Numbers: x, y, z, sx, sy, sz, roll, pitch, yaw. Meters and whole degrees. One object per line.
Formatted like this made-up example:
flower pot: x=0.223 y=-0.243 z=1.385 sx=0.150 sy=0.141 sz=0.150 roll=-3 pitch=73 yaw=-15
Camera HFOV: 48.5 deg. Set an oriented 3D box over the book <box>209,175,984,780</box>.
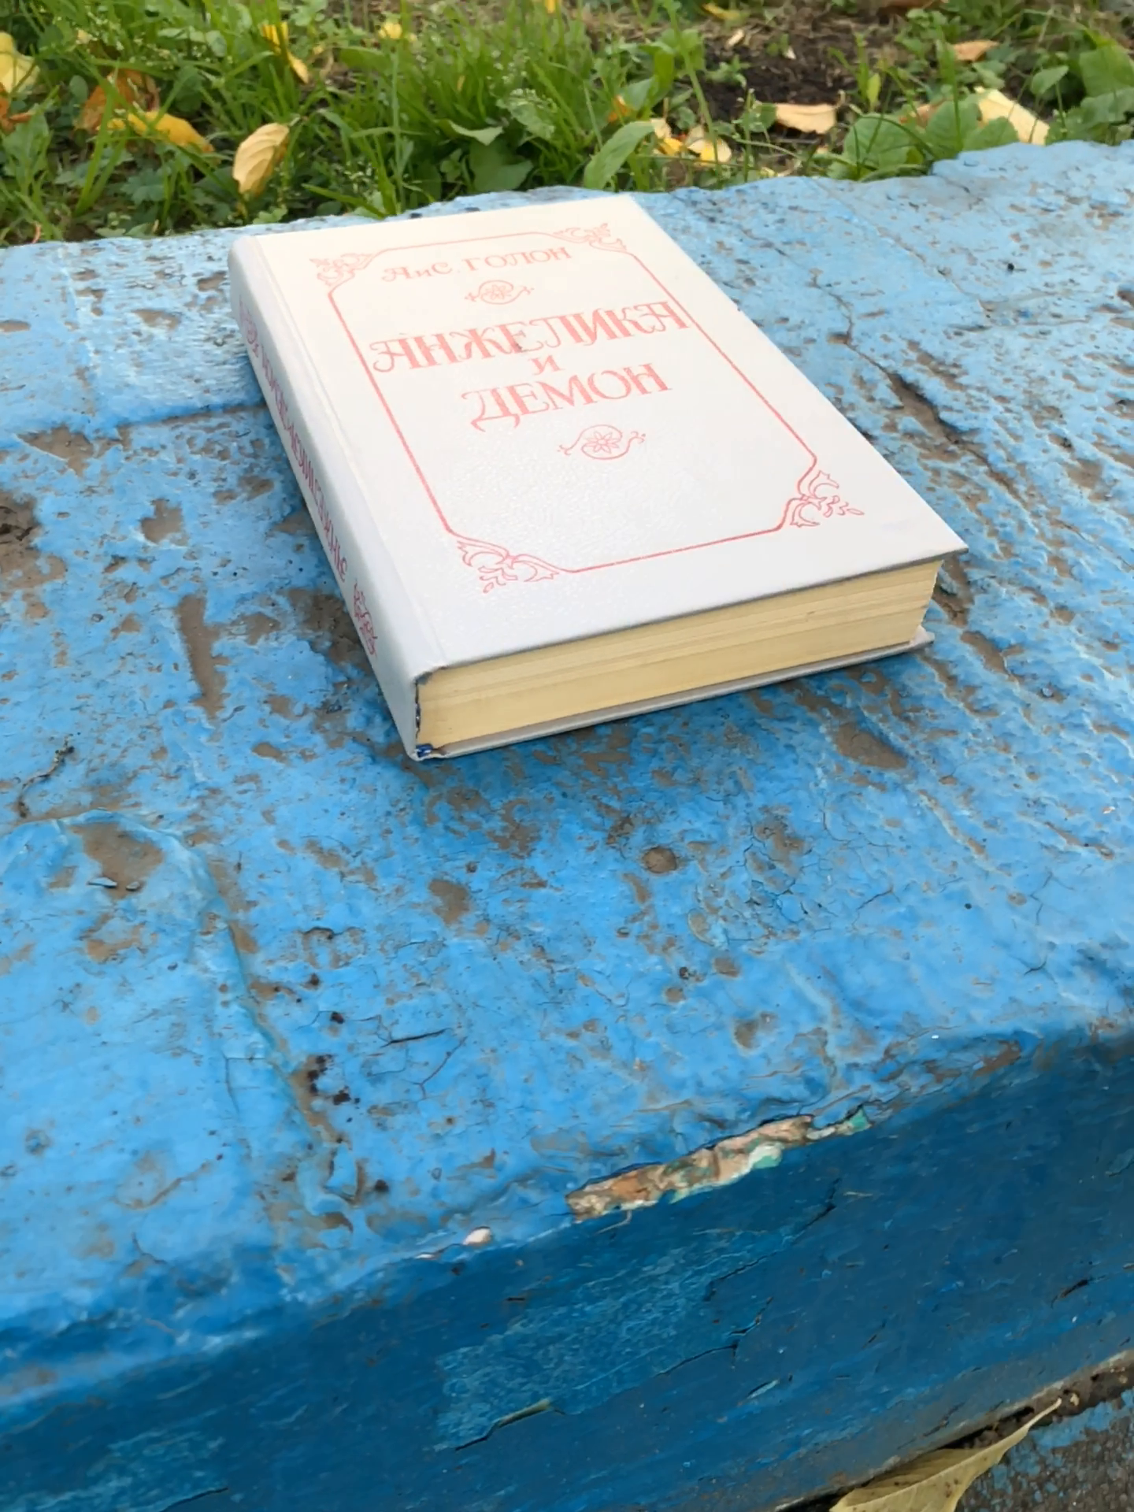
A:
book: x=-0.007 y=-0.095 z=0.350 sx=0.140 sy=0.032 sz=0.211 roll=-14 pitch=49 yaw=-16
